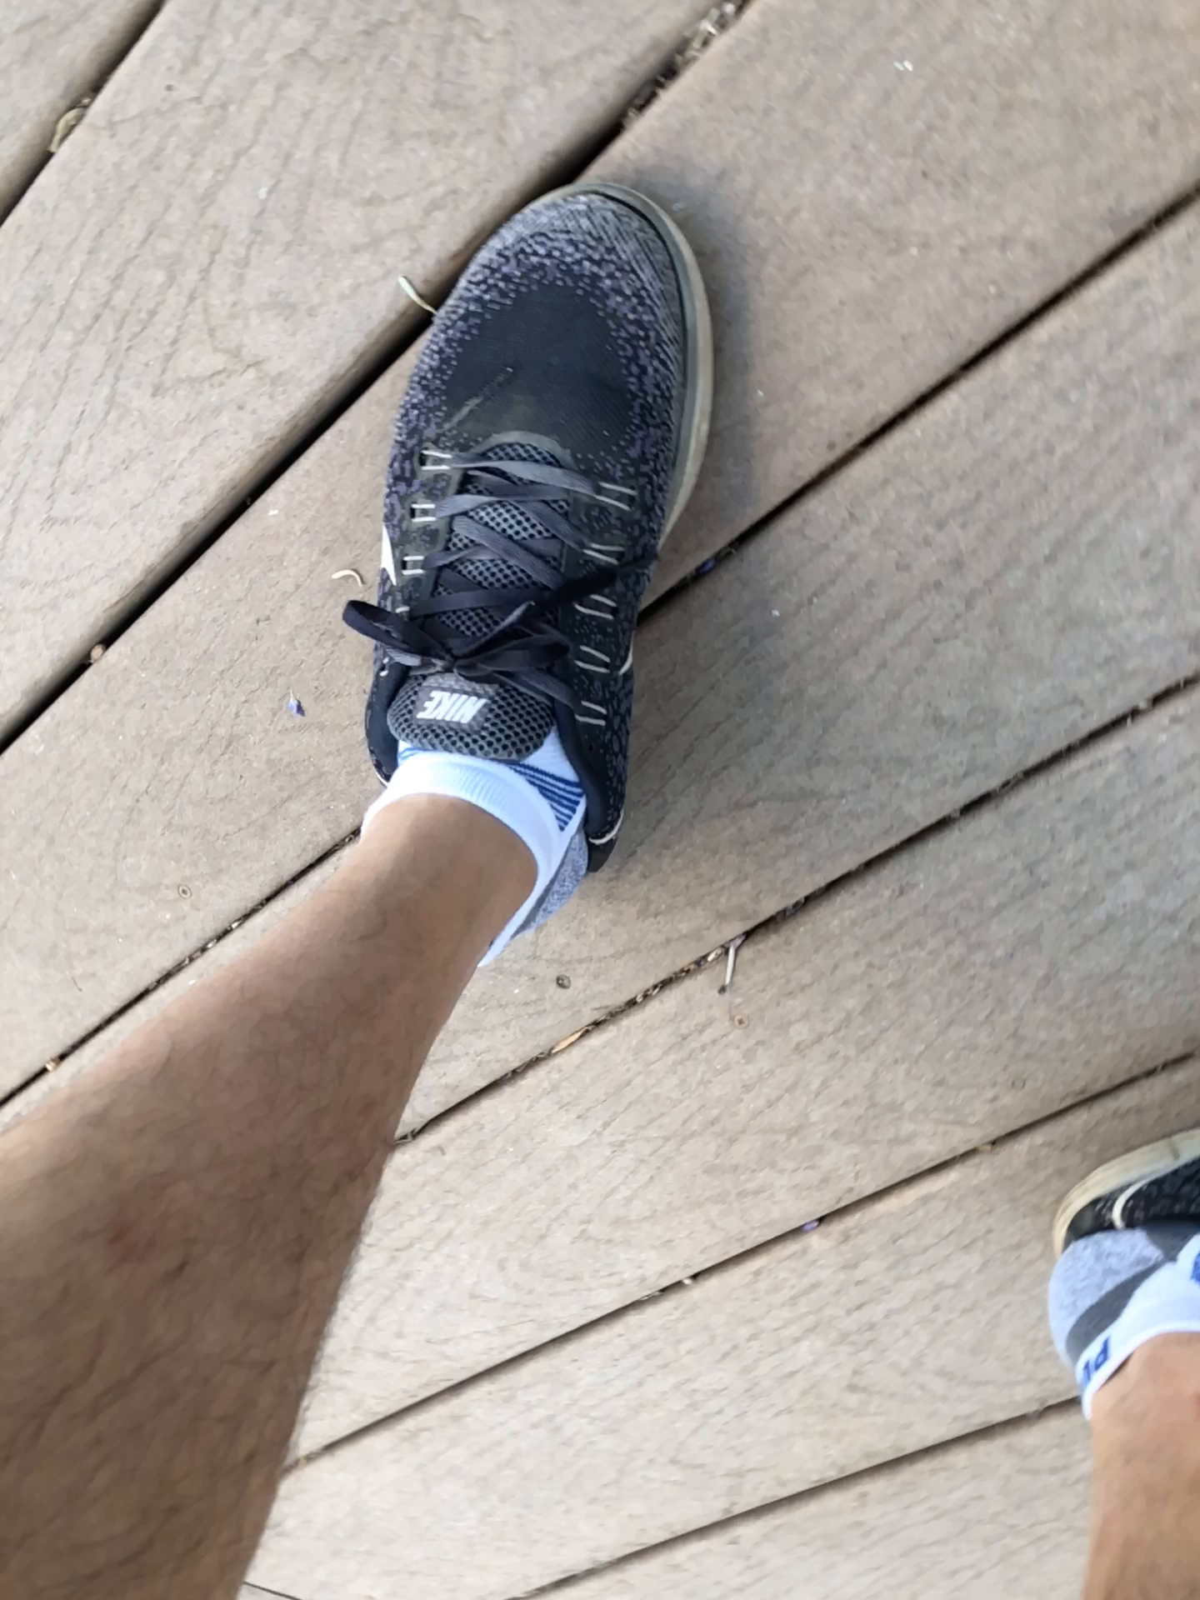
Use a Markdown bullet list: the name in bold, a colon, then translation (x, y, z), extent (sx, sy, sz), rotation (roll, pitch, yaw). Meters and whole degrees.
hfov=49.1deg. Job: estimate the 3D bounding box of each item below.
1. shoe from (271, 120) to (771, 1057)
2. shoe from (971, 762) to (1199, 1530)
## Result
- **shoe**: translation (-0.036, -0.071, 0.502), extent (0.120, 0.090, 0.311), rotation (16, 113, 9)
- **shoe**: translation (0.312, 0.144, 0.514), extent (0.120, 0.090, 0.321), rotation (44, 114, -5)
